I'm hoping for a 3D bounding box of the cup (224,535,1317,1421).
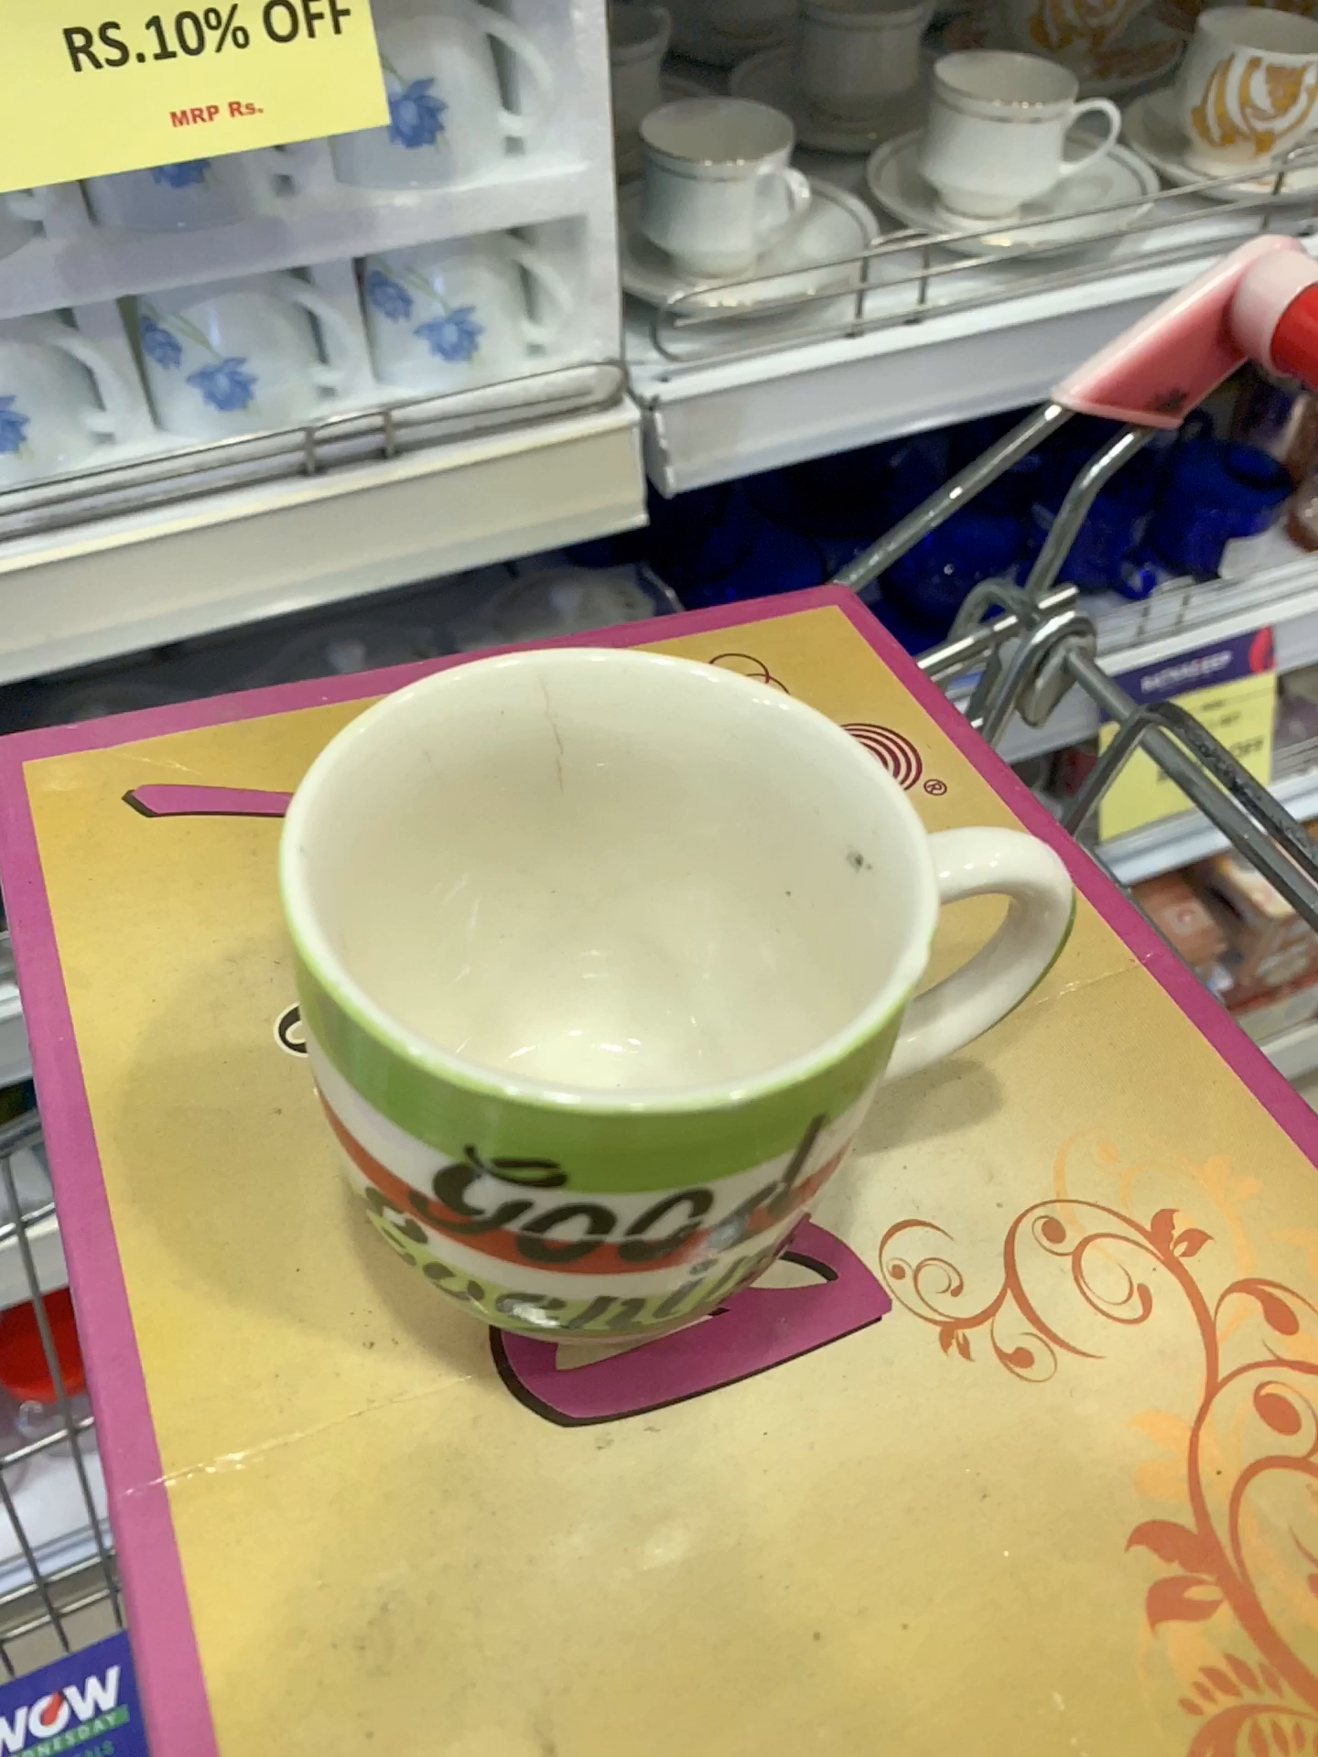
[{"bbox_3d":[0.007,0.006,0.182,0.110,0.060,0.080,-10,45,-15],"label":"cup"}]
